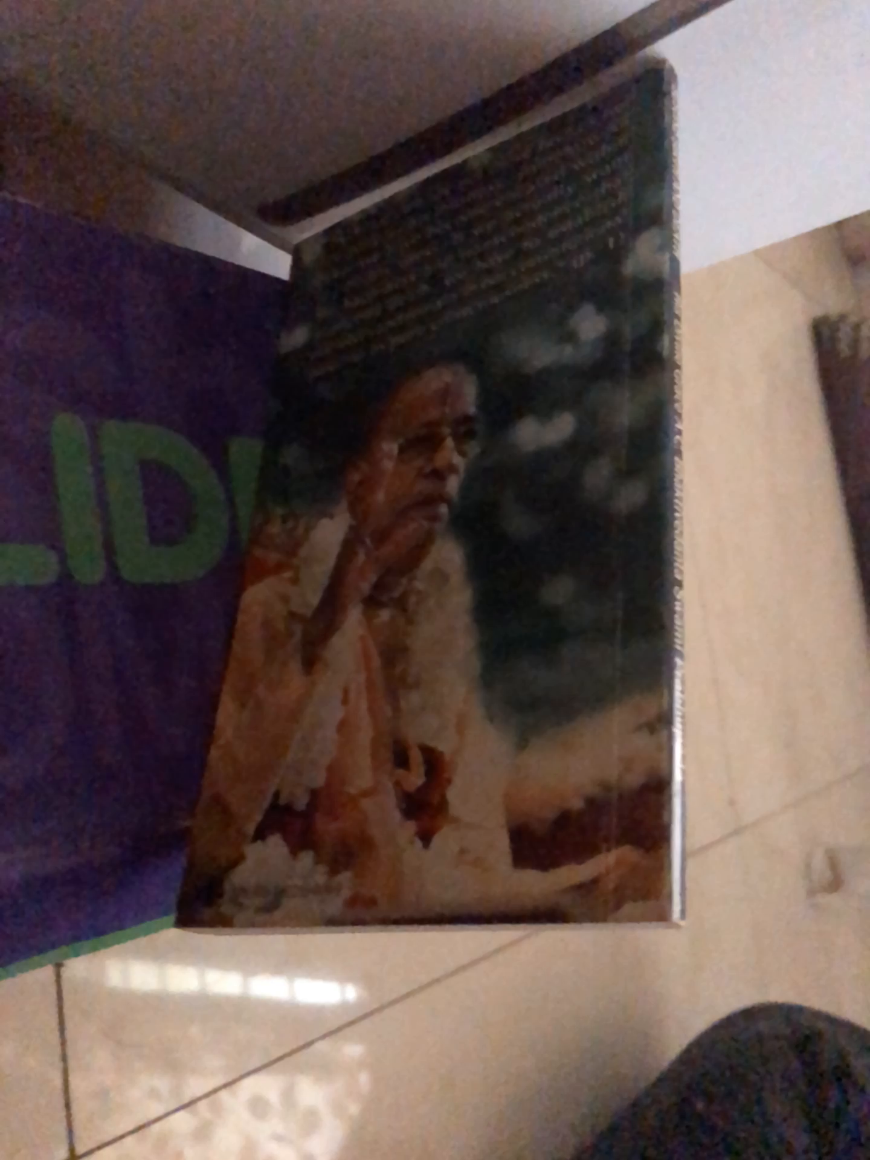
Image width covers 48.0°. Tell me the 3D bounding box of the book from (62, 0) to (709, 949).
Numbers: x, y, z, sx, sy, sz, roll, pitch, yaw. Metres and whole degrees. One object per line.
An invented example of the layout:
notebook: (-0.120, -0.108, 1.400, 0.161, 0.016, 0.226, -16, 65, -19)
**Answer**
book: (-0.012, -0.031, 0.191, 0.010, 0.119, 0.190, 33, 51, -44)
